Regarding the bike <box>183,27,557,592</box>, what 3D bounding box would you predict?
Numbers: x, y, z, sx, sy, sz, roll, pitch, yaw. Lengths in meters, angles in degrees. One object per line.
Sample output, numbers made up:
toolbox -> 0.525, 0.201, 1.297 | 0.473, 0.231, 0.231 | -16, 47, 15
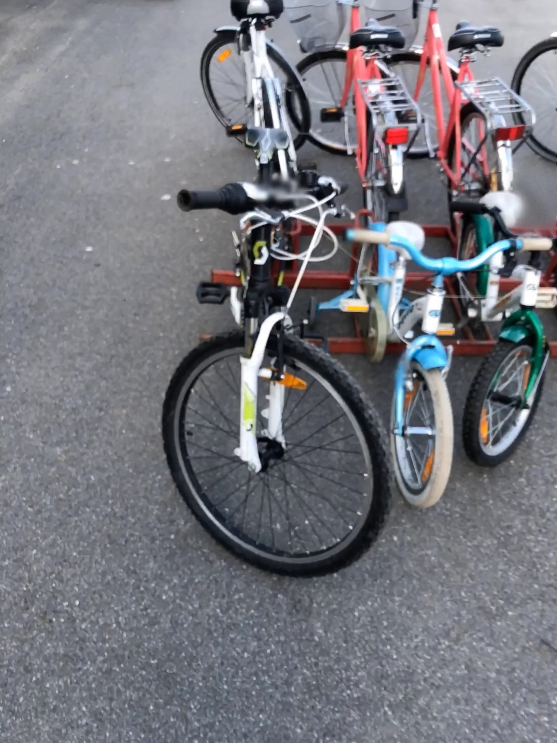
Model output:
bike -> 0.065, -0.274, 1.647 | 0.528, 0.901, 1.380 | -3, 39, -9
